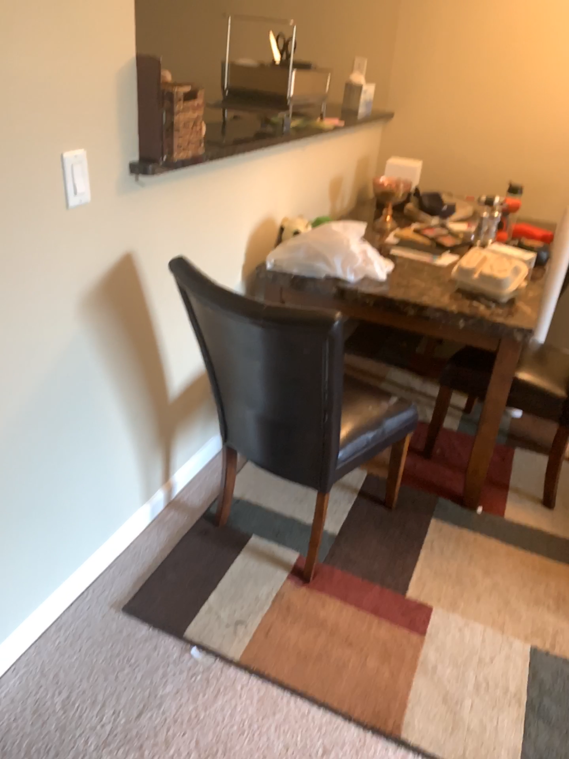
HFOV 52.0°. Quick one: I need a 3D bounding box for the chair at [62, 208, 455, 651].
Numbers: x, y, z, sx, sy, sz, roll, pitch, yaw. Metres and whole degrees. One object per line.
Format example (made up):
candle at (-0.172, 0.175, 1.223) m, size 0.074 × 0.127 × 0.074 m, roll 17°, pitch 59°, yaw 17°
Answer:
chair at (-0.074, 0.072, 1.827) m, size 0.812 × 0.925 × 0.733 m, roll 21°, pitch 33°, yaw 25°
